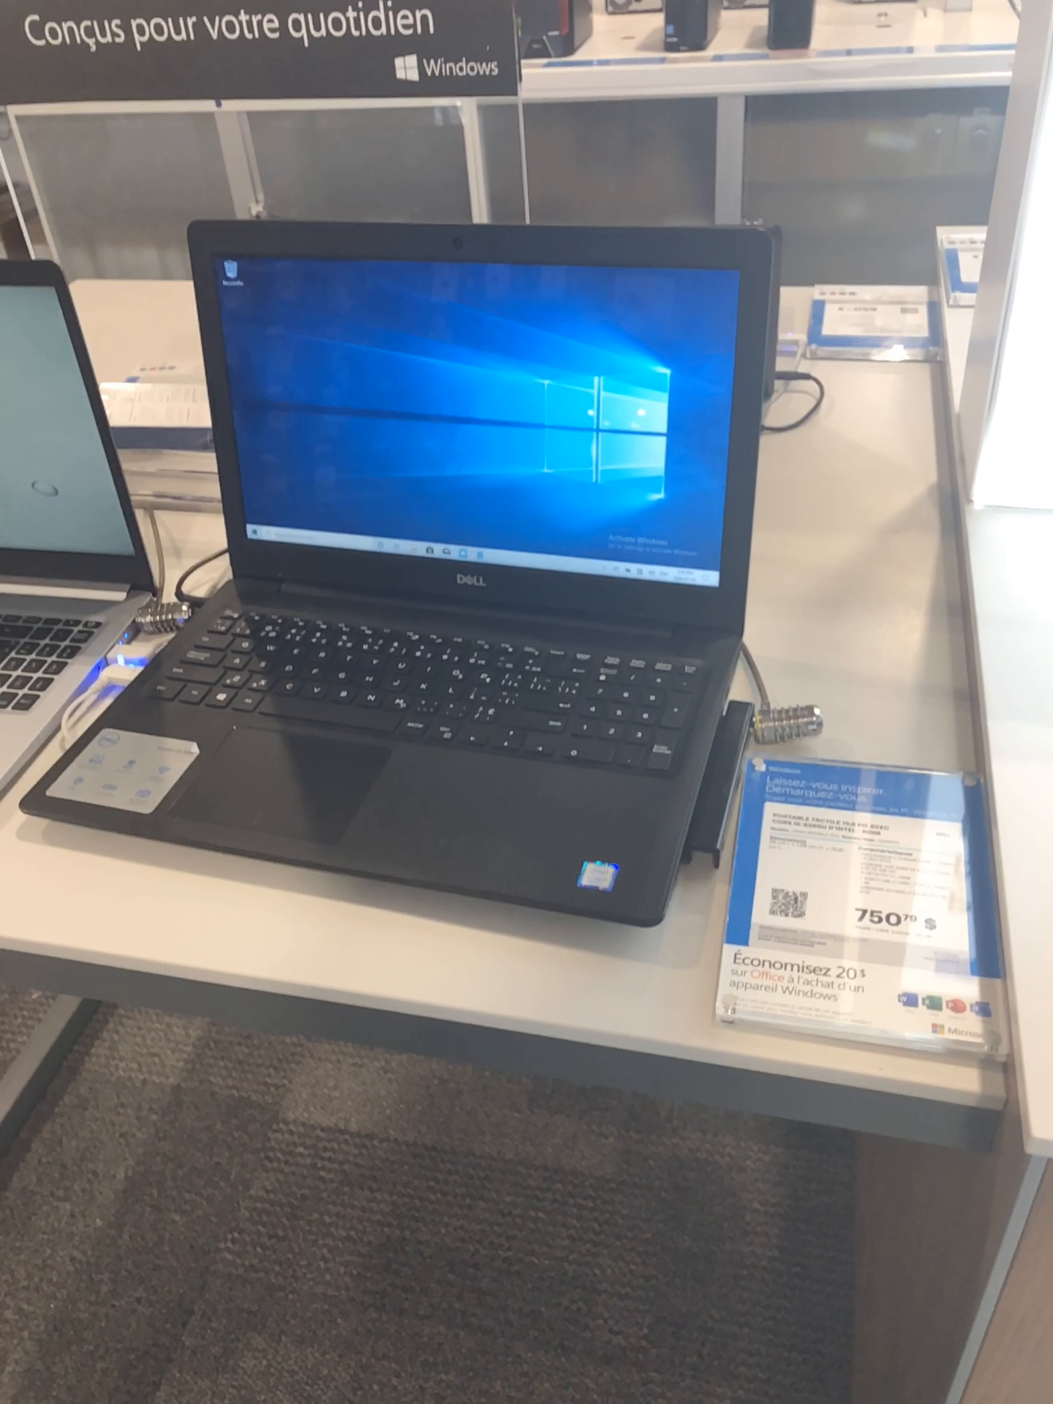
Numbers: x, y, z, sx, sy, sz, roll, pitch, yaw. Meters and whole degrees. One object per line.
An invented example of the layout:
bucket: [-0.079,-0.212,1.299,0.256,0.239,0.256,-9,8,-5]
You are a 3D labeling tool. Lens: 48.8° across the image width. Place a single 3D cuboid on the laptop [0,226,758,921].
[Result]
laptop: [-0.079,-0.103,0.662,0.368,0.230,0.311,8,39,16]
